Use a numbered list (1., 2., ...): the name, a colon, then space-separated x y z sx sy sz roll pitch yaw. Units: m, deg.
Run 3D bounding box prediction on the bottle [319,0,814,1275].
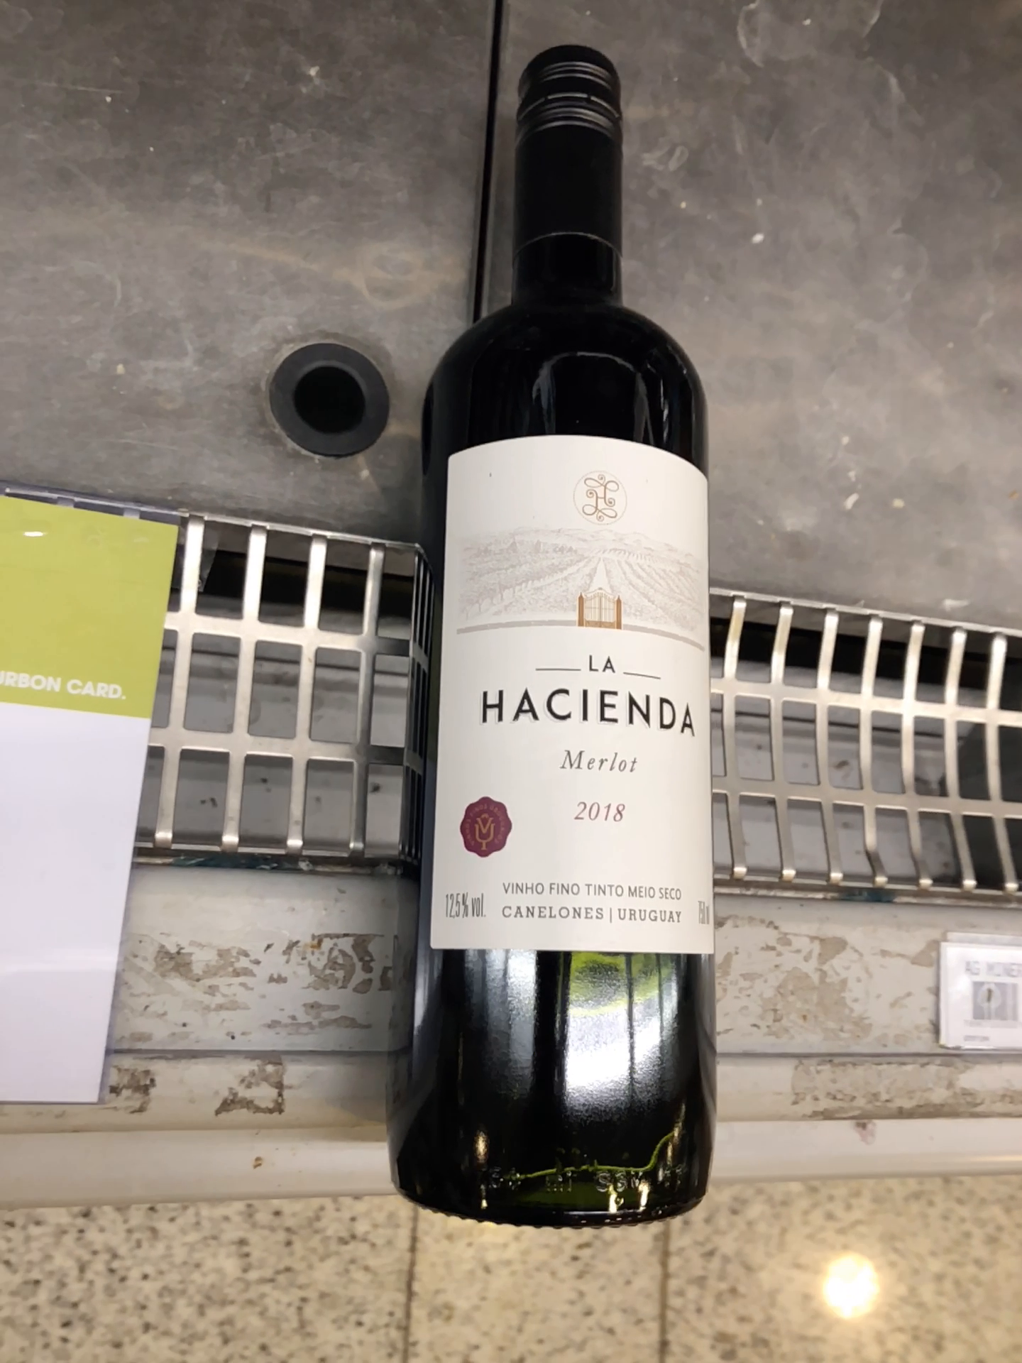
1. bottle: 0.011 -0.038 0.264 0.080 0.070 0.300 6 76 -17
